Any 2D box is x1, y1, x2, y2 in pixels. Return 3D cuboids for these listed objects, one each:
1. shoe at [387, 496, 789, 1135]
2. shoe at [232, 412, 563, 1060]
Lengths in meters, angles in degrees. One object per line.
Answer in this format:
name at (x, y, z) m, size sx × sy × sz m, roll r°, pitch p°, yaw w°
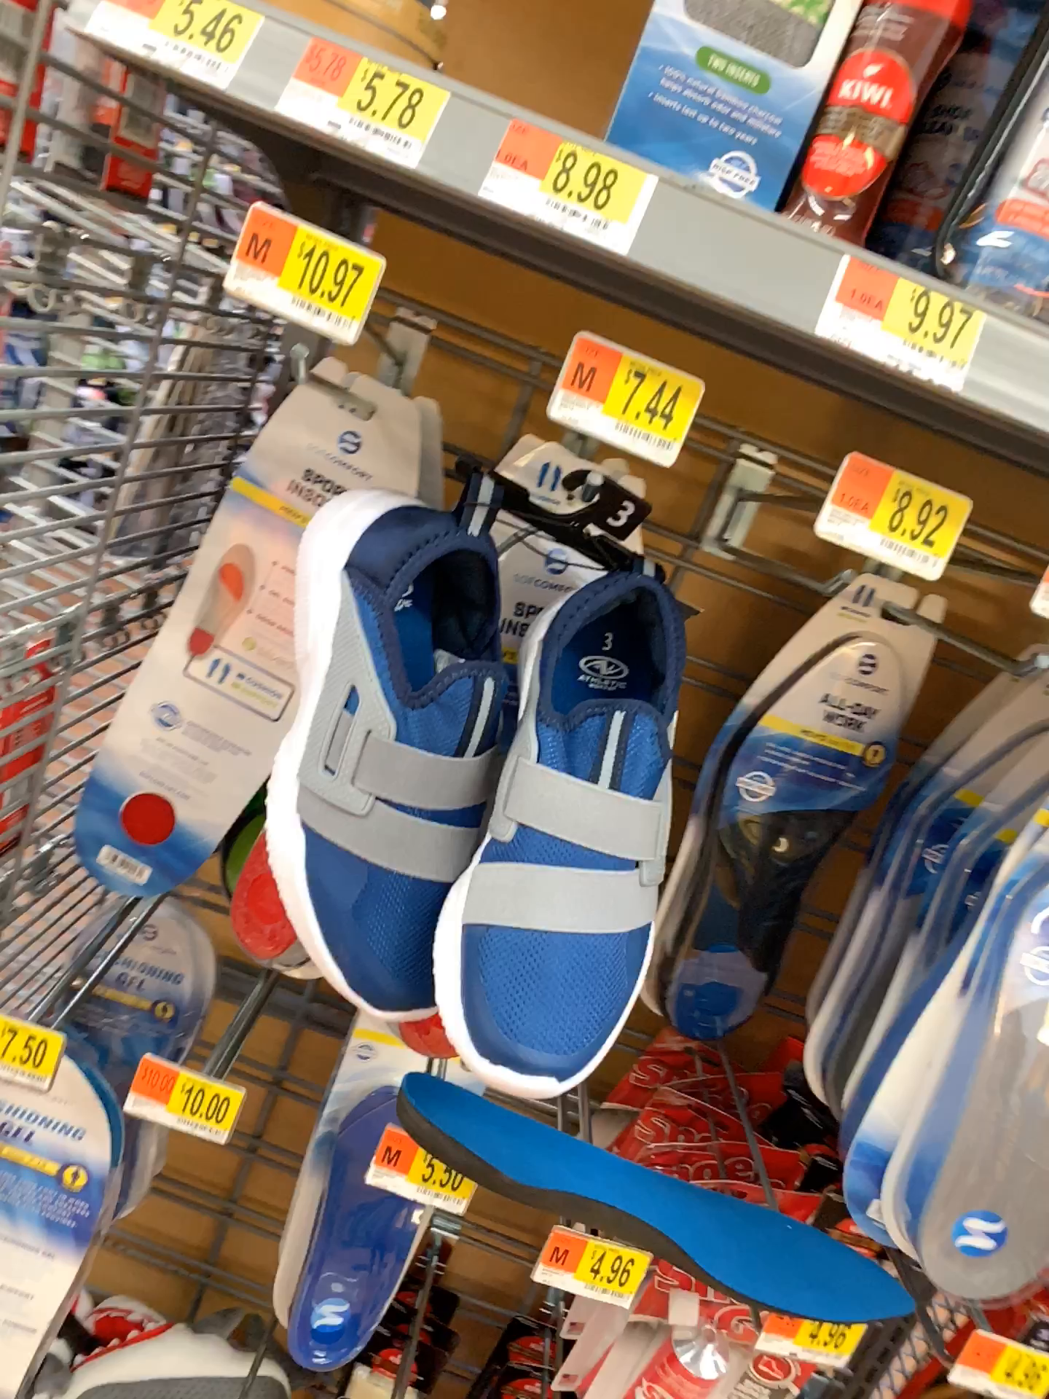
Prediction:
shoe at (0.028, 0.050, 0.463) m, size 0.101 × 0.234 × 0.098 m, roll 18°, pitch -22°, yaw -9°
shoe at (-0.056, 0.016, 0.474) m, size 0.096 × 0.246 × 0.098 m, roll 7°, pitch -7°, yaw -36°
